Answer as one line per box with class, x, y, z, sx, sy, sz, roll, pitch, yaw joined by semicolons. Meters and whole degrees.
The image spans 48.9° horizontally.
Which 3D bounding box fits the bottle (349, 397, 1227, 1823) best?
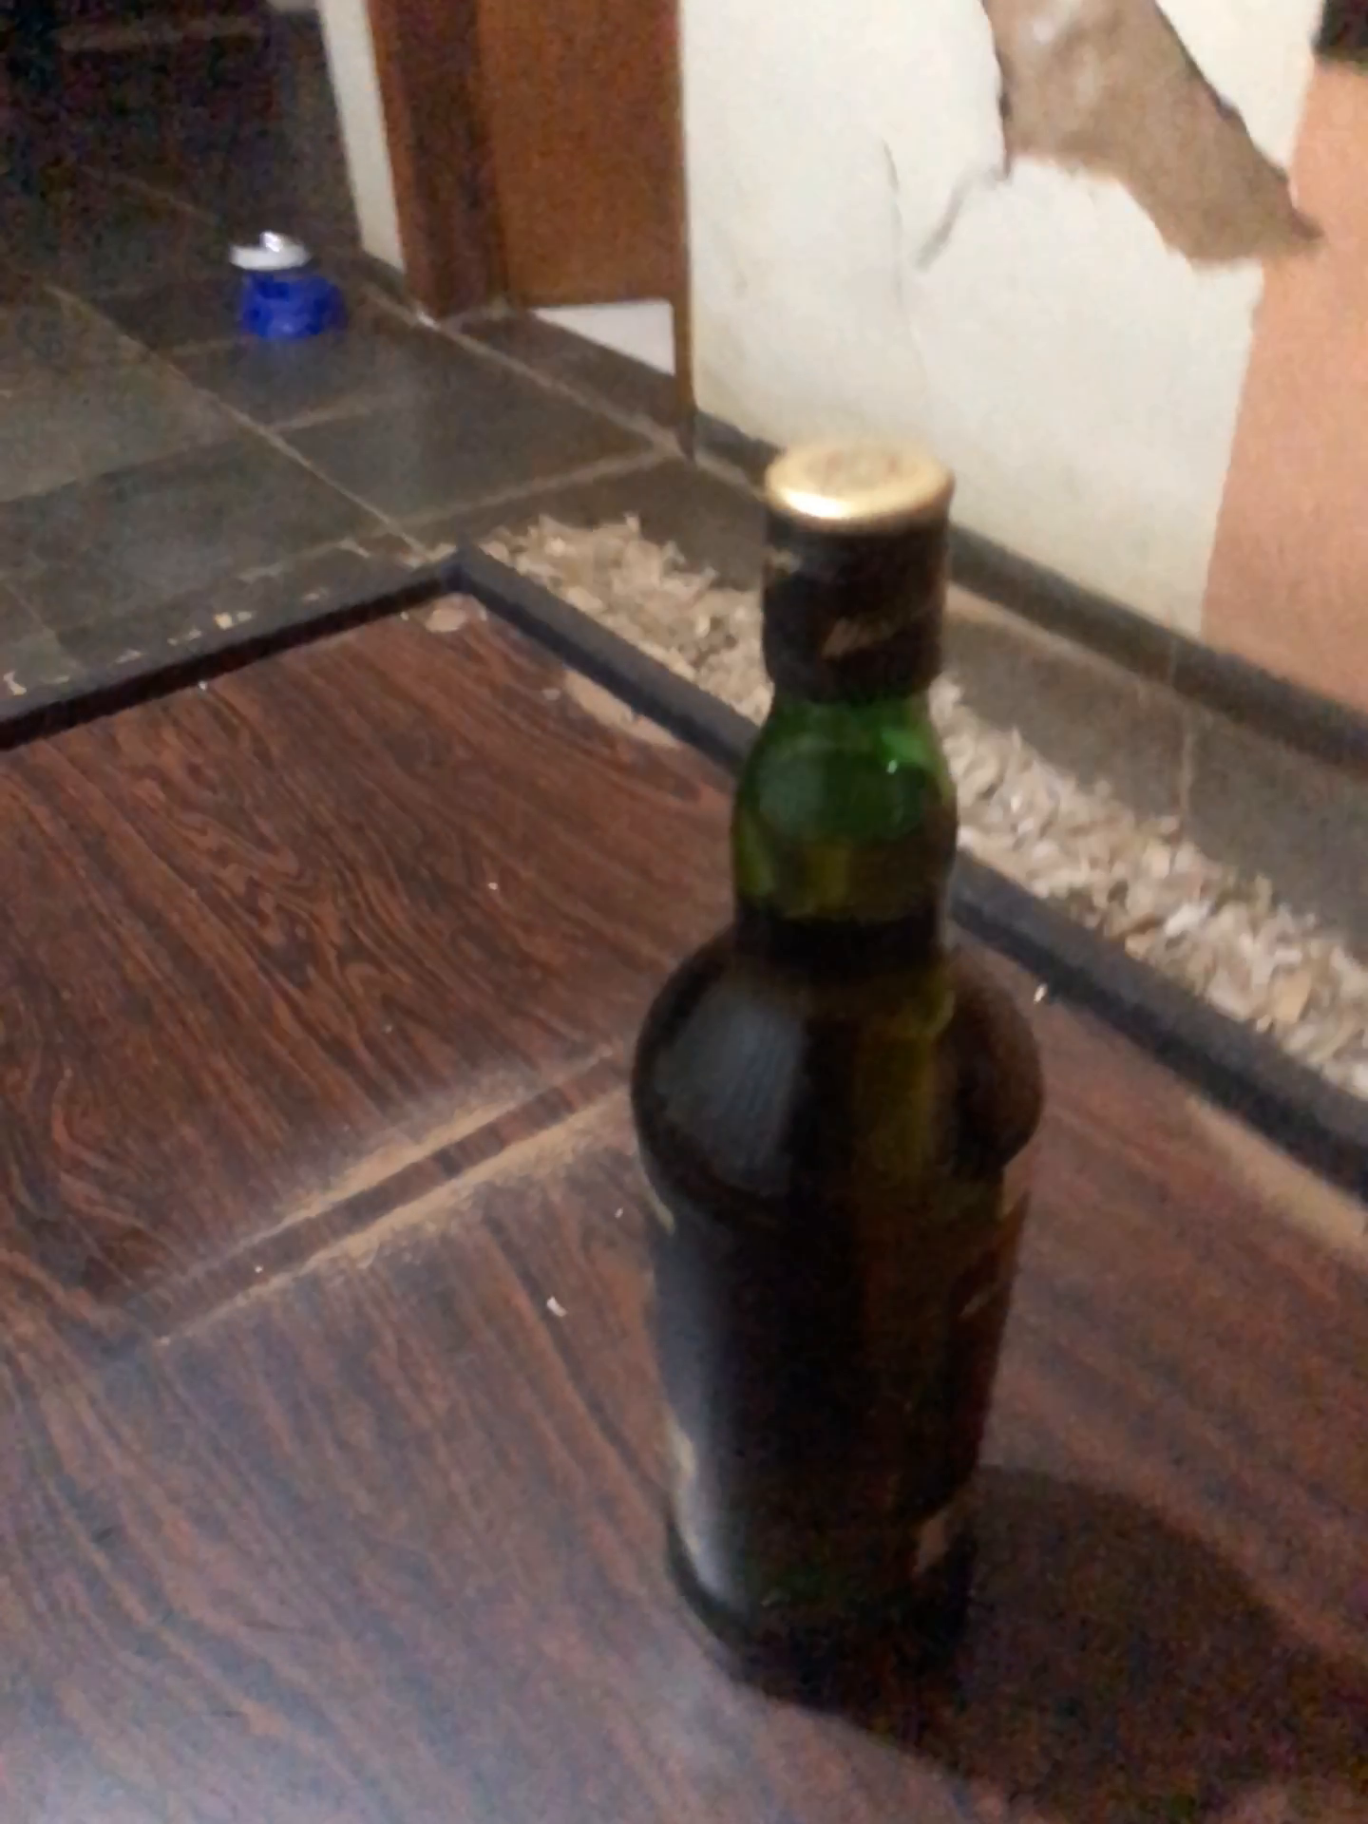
bottle;0.025;0.064;0.331;0.100;0.308;0.101;-2;37;2
